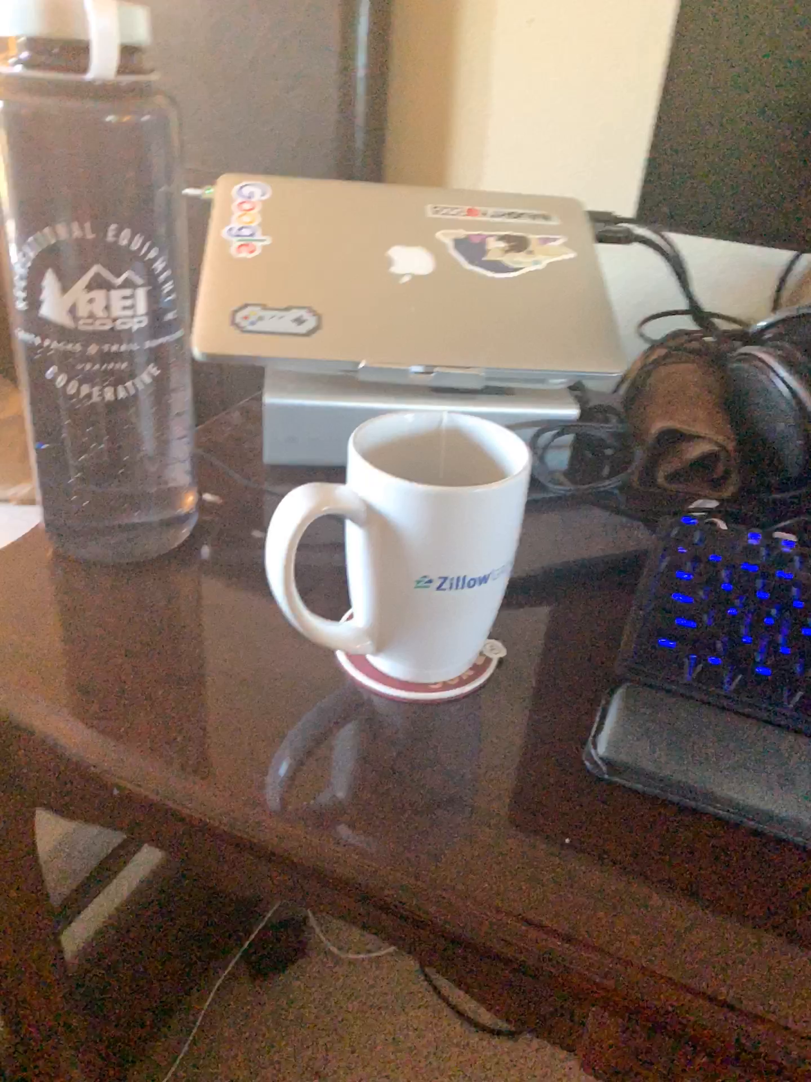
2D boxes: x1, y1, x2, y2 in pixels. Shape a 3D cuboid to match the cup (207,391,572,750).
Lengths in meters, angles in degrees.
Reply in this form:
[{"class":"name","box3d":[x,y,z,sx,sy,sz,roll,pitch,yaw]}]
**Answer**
[{"class":"cup","box3d":[-0.009,0.005,0.399,0.130,0.099,0.100,-23,42,-37]}]
